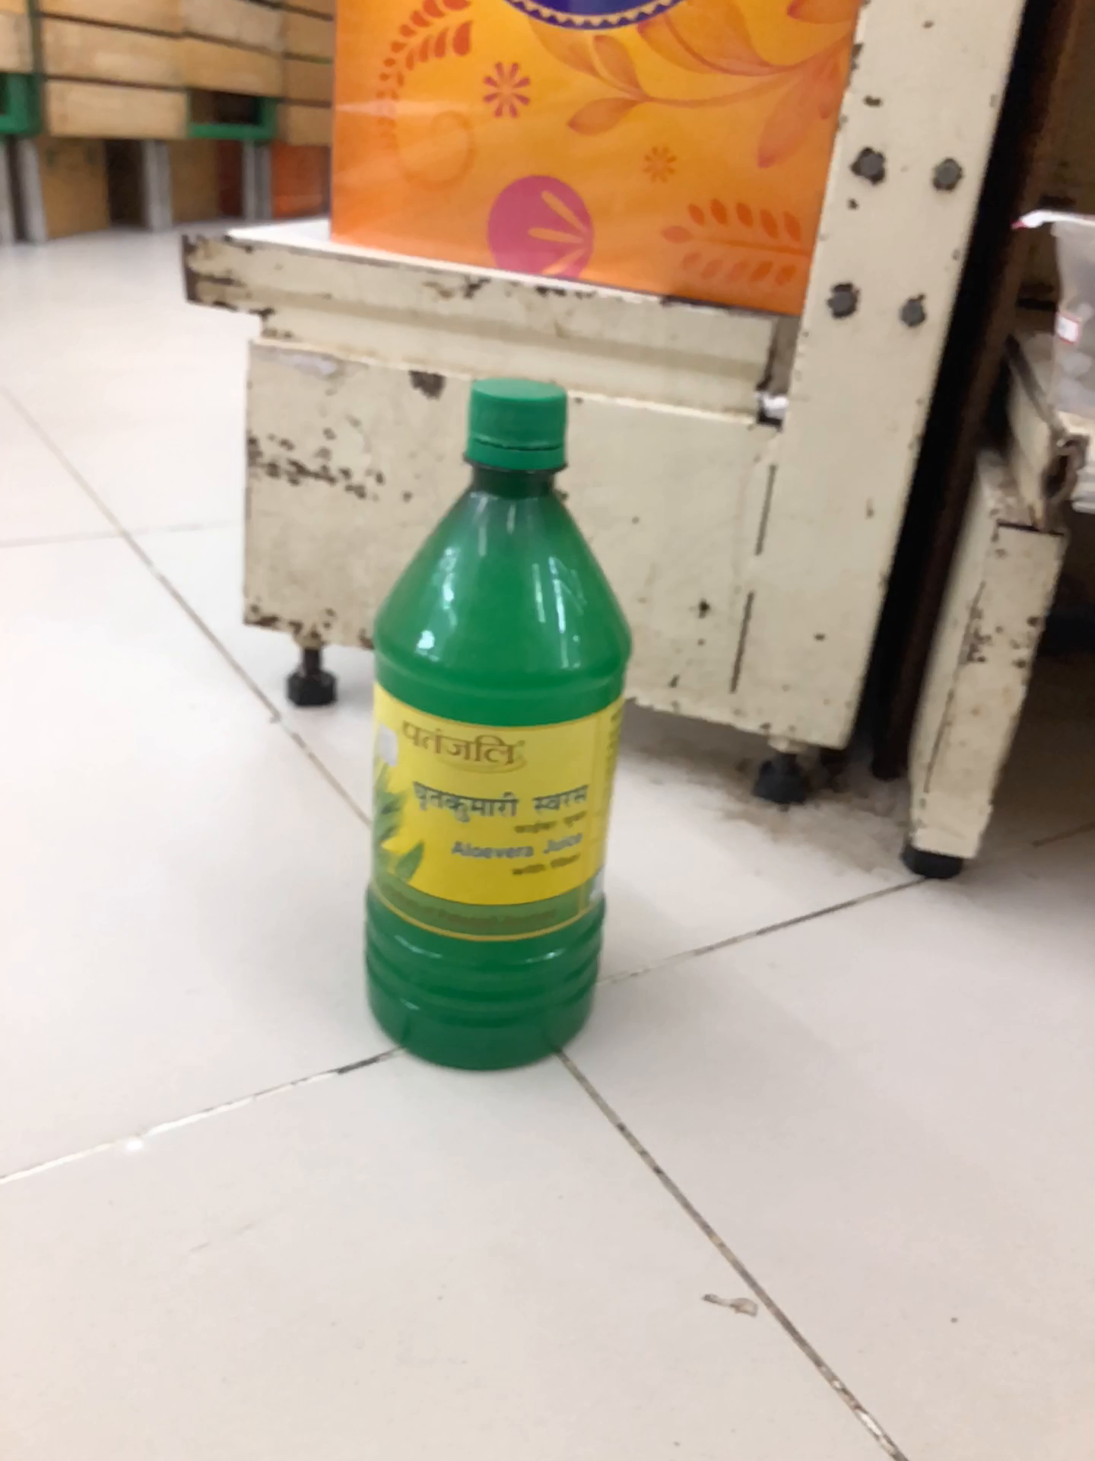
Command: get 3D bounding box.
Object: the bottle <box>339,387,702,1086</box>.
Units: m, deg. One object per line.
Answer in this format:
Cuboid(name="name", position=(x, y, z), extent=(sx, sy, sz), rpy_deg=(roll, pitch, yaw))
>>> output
Cuboid(name="bottle", position=(-0.018, 0.004, 0.428), extent=(0.100, 0.219, 0.101), rpy_deg=(4, 26, -2))
